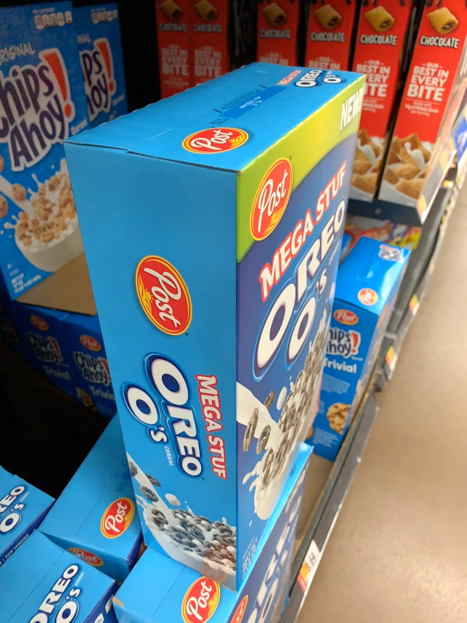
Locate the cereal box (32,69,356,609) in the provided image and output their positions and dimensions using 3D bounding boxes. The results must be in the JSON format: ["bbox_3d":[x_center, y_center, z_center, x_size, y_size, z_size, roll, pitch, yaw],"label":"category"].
[{"bbox_3d":[0.003,0.017,0.332,0.080,0.298,0.201,14,38,20],"label":"cereal box"}]
